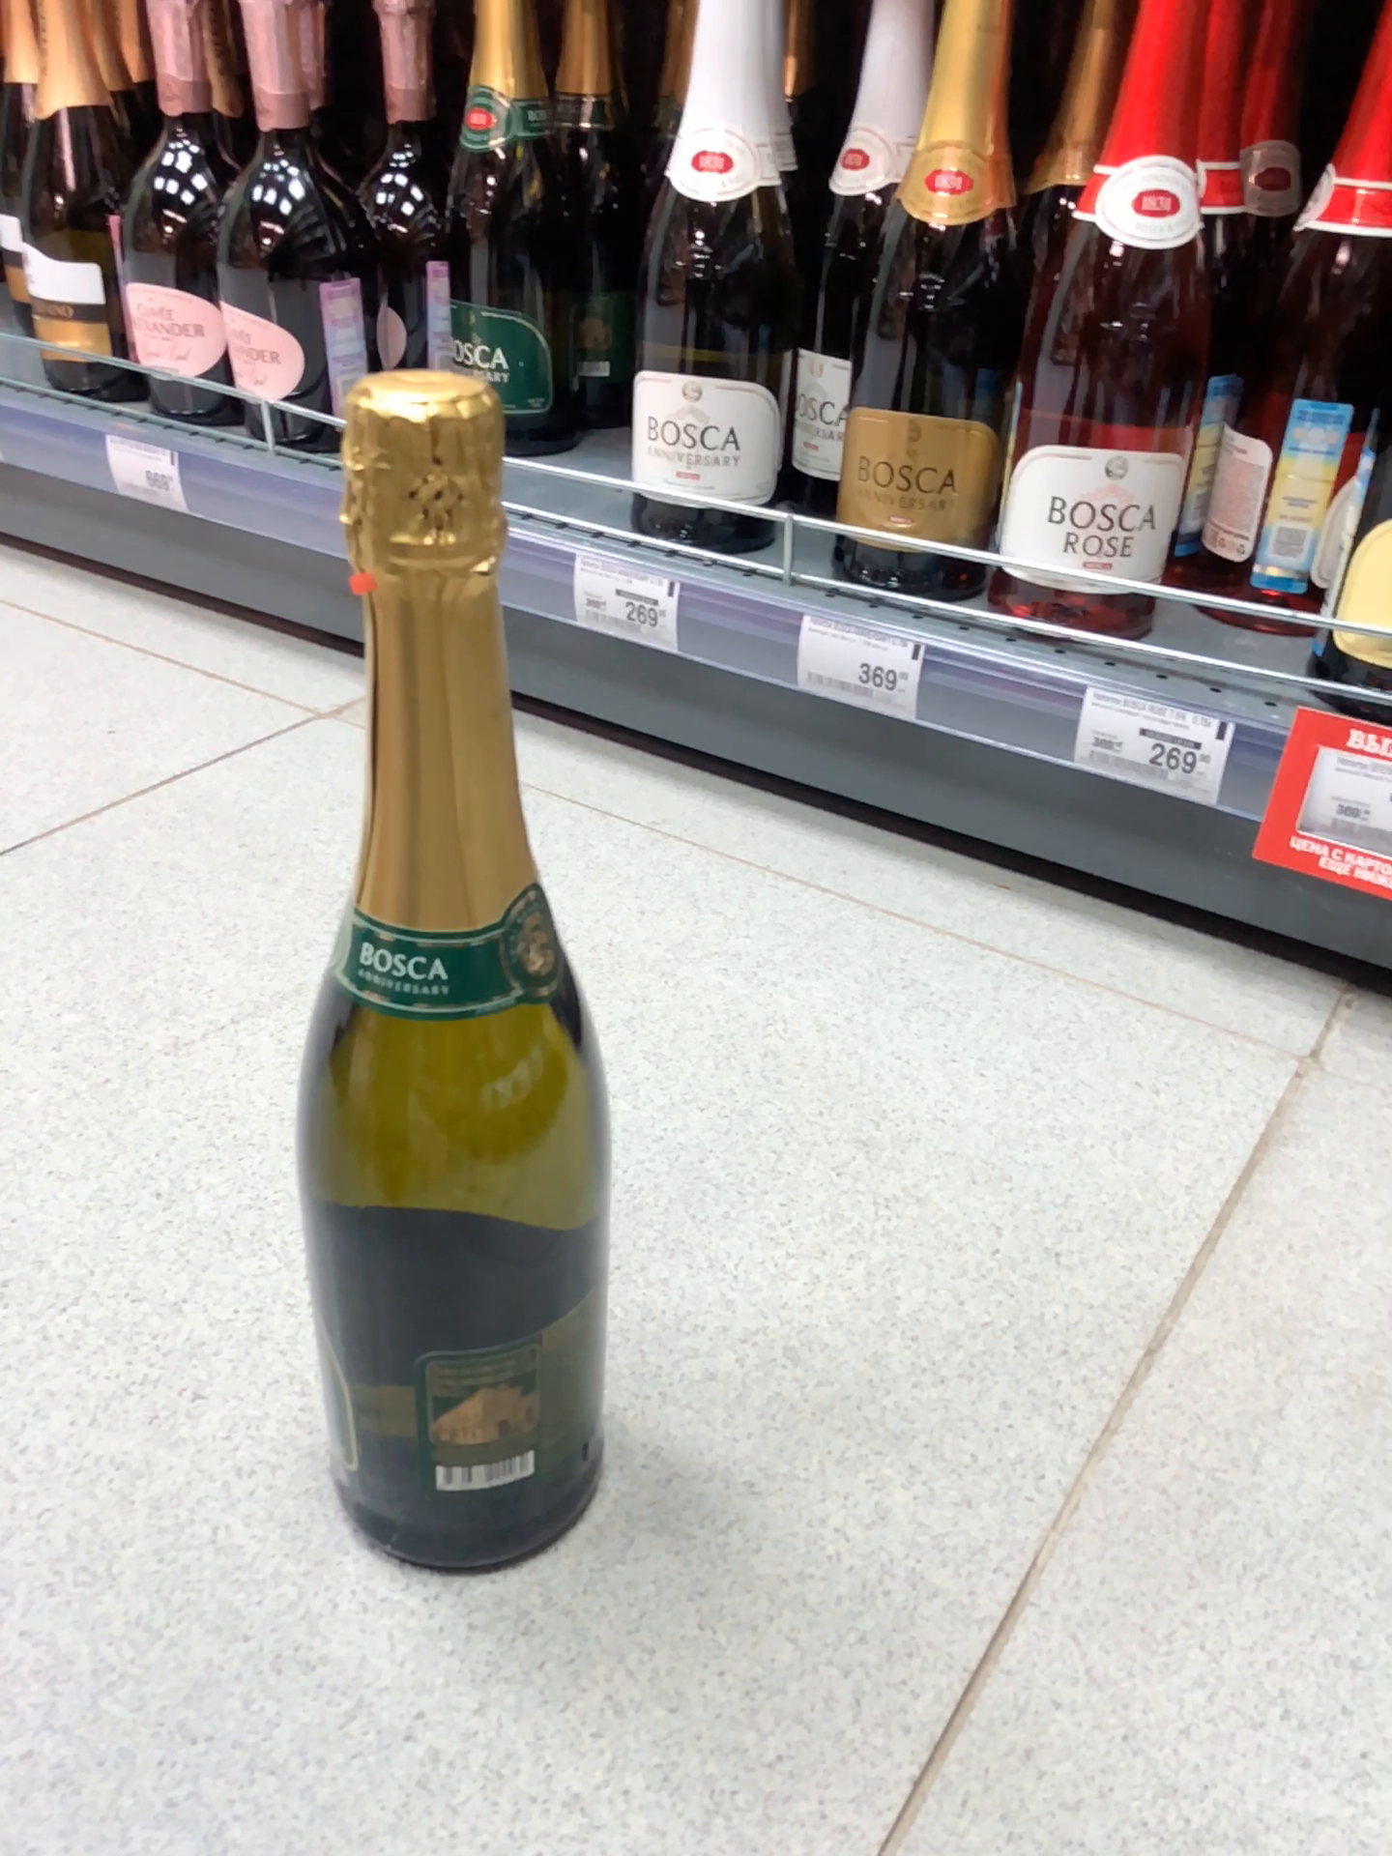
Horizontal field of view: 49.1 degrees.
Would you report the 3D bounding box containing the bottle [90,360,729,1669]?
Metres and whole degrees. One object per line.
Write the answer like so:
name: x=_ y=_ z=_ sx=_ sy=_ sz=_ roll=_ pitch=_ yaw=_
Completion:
bottle: x=-0.062 y=0.033 z=0.387 sx=0.090 sy=0.314 sz=0.090 roll=2 pitch=30 yaw=-1
